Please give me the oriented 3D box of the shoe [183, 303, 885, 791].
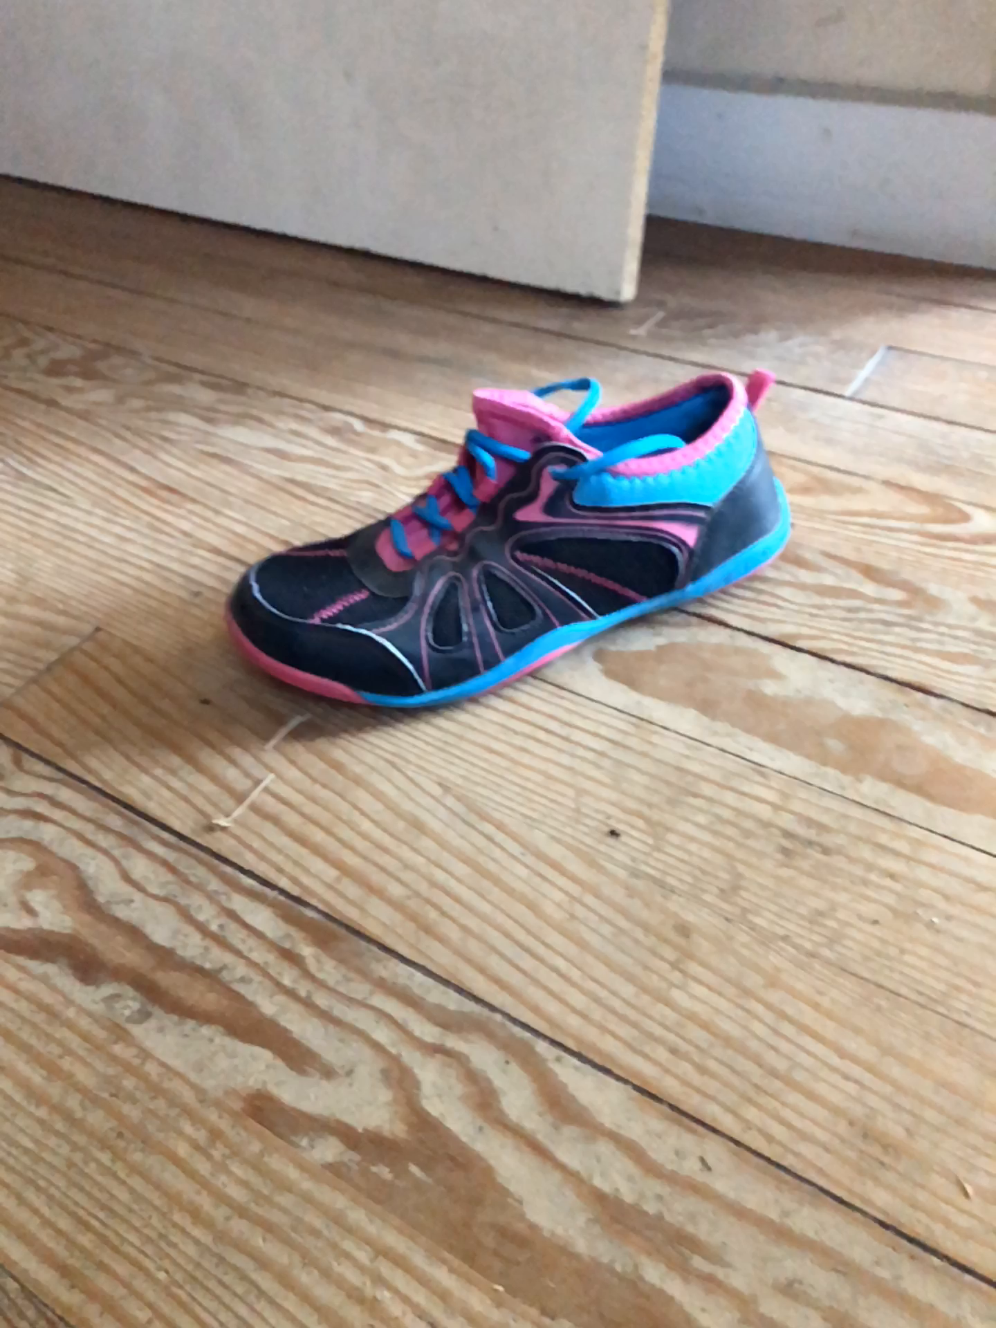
[{"bbox_3d":[0.015,-0.059,0.478,0.260,0.099,0.110,-18,45,-14],"label":"shoe"}]
